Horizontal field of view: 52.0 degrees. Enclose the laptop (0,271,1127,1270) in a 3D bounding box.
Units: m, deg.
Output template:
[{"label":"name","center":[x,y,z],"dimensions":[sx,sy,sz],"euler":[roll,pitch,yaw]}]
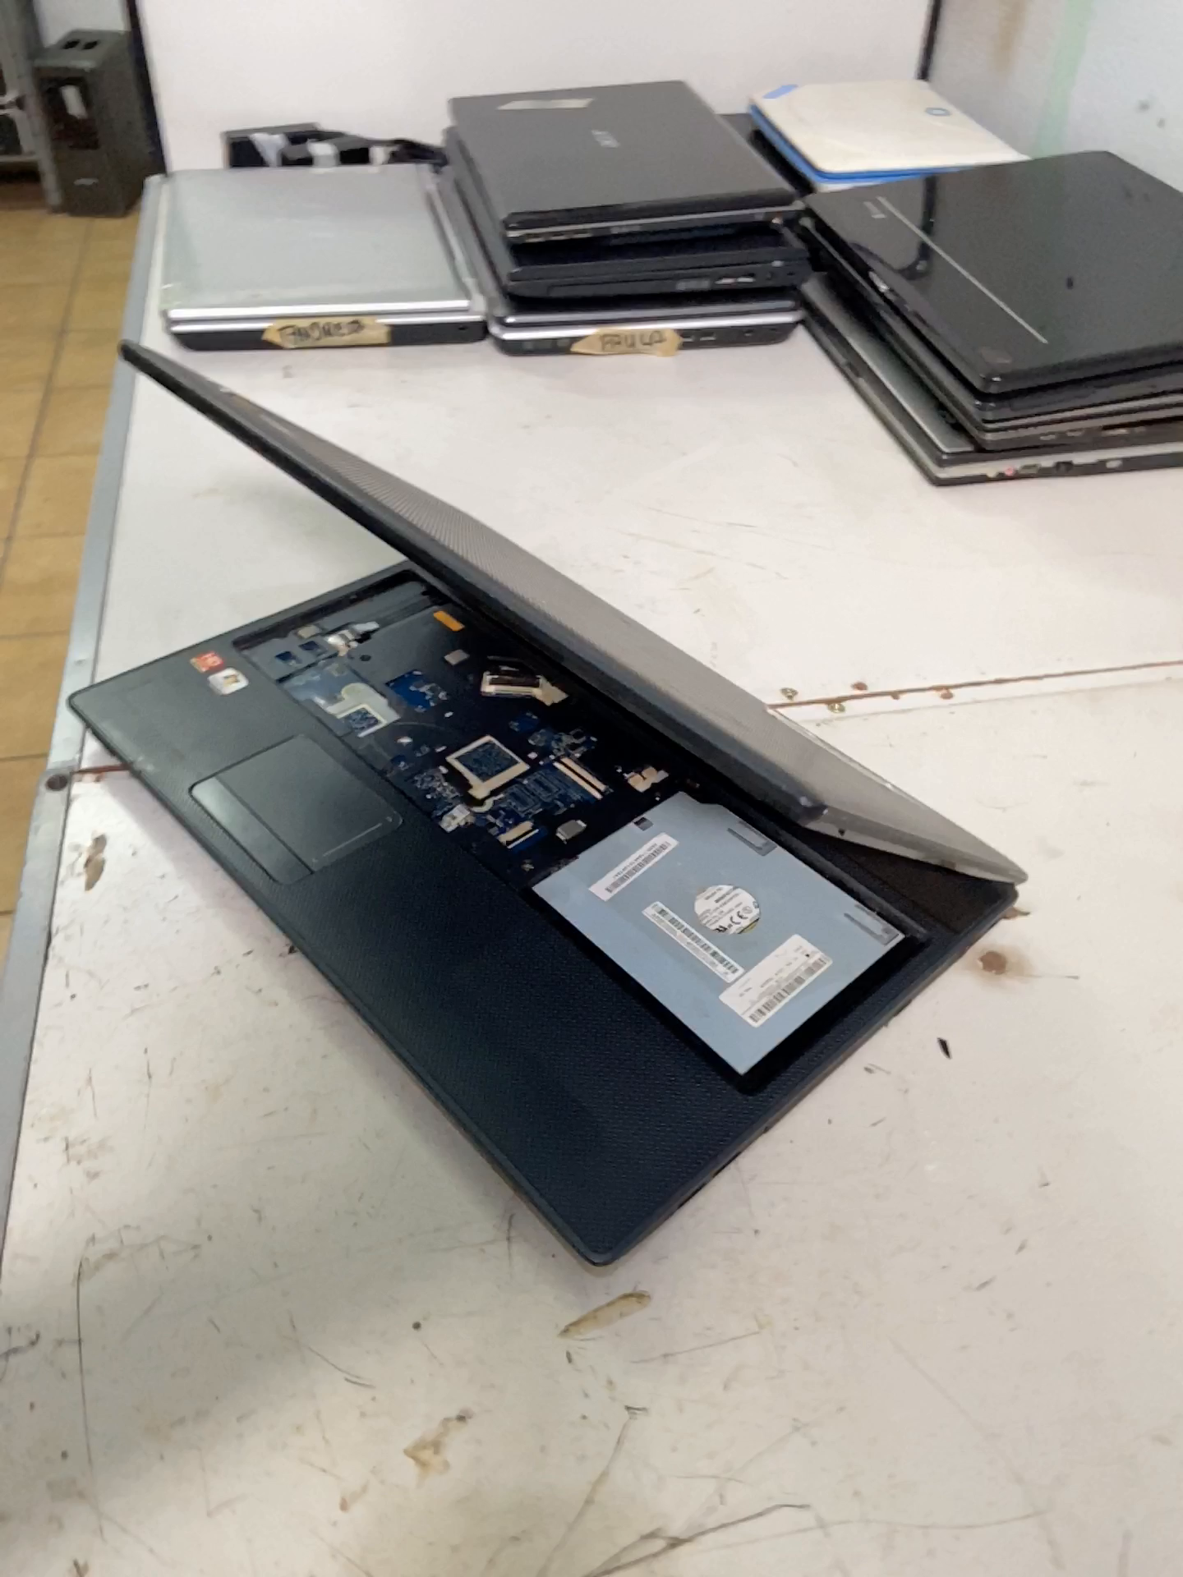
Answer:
[{"label":"laptop","center":[-0.035,-0.053,0.494],"dimensions":[0.240,0.156,0.371],"euler":[-30,51,-31]}]
